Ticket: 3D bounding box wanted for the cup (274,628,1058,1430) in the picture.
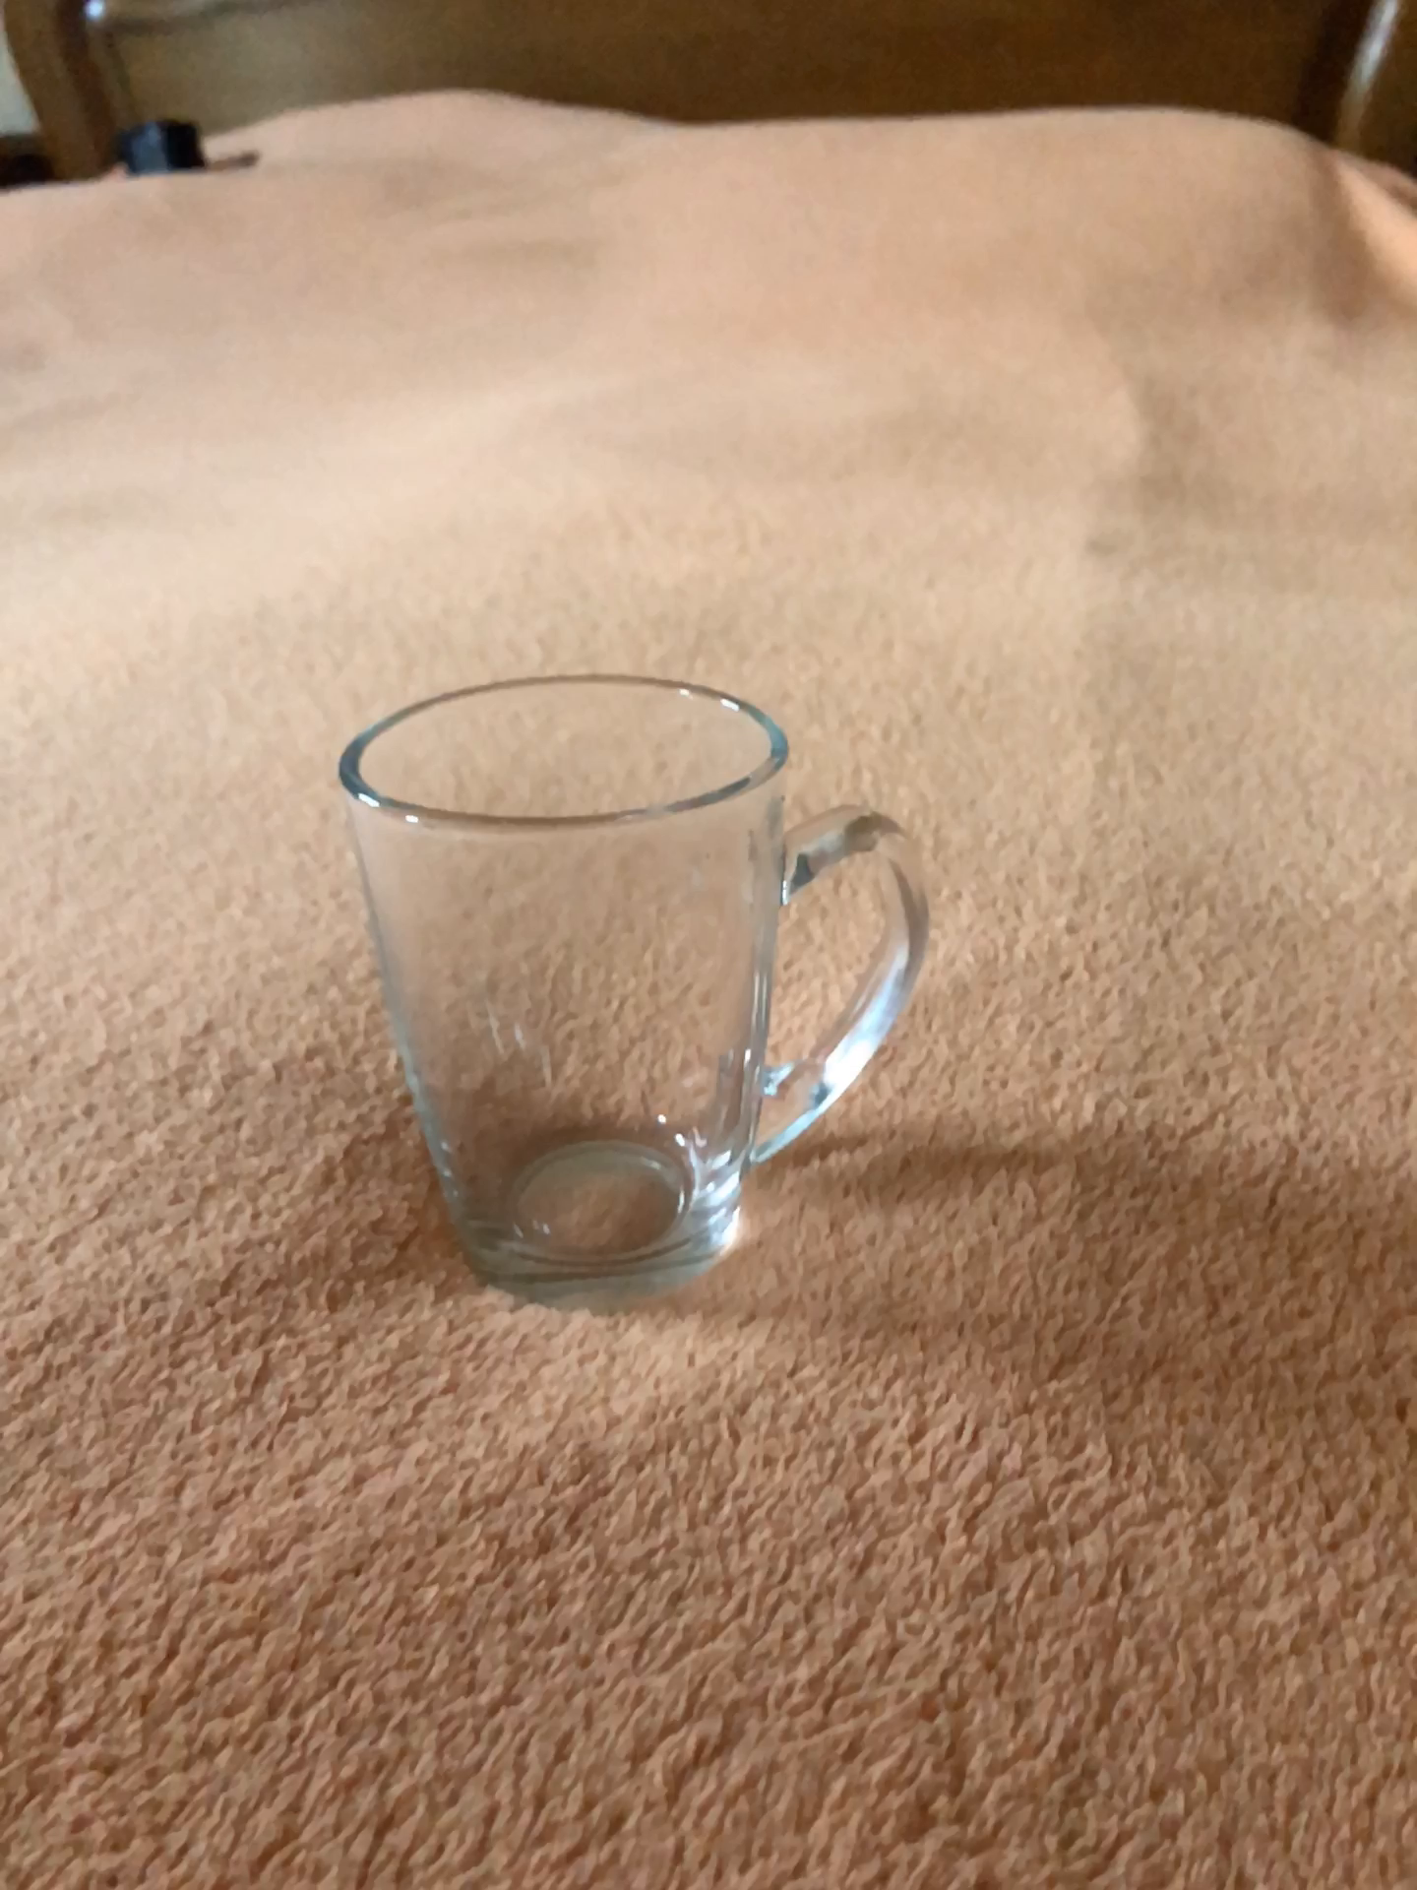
[{"bbox_3d":[-0.009,0.008,0.253,0.100,0.090,0.070,-9,28,-15],"label":"cup"}]
